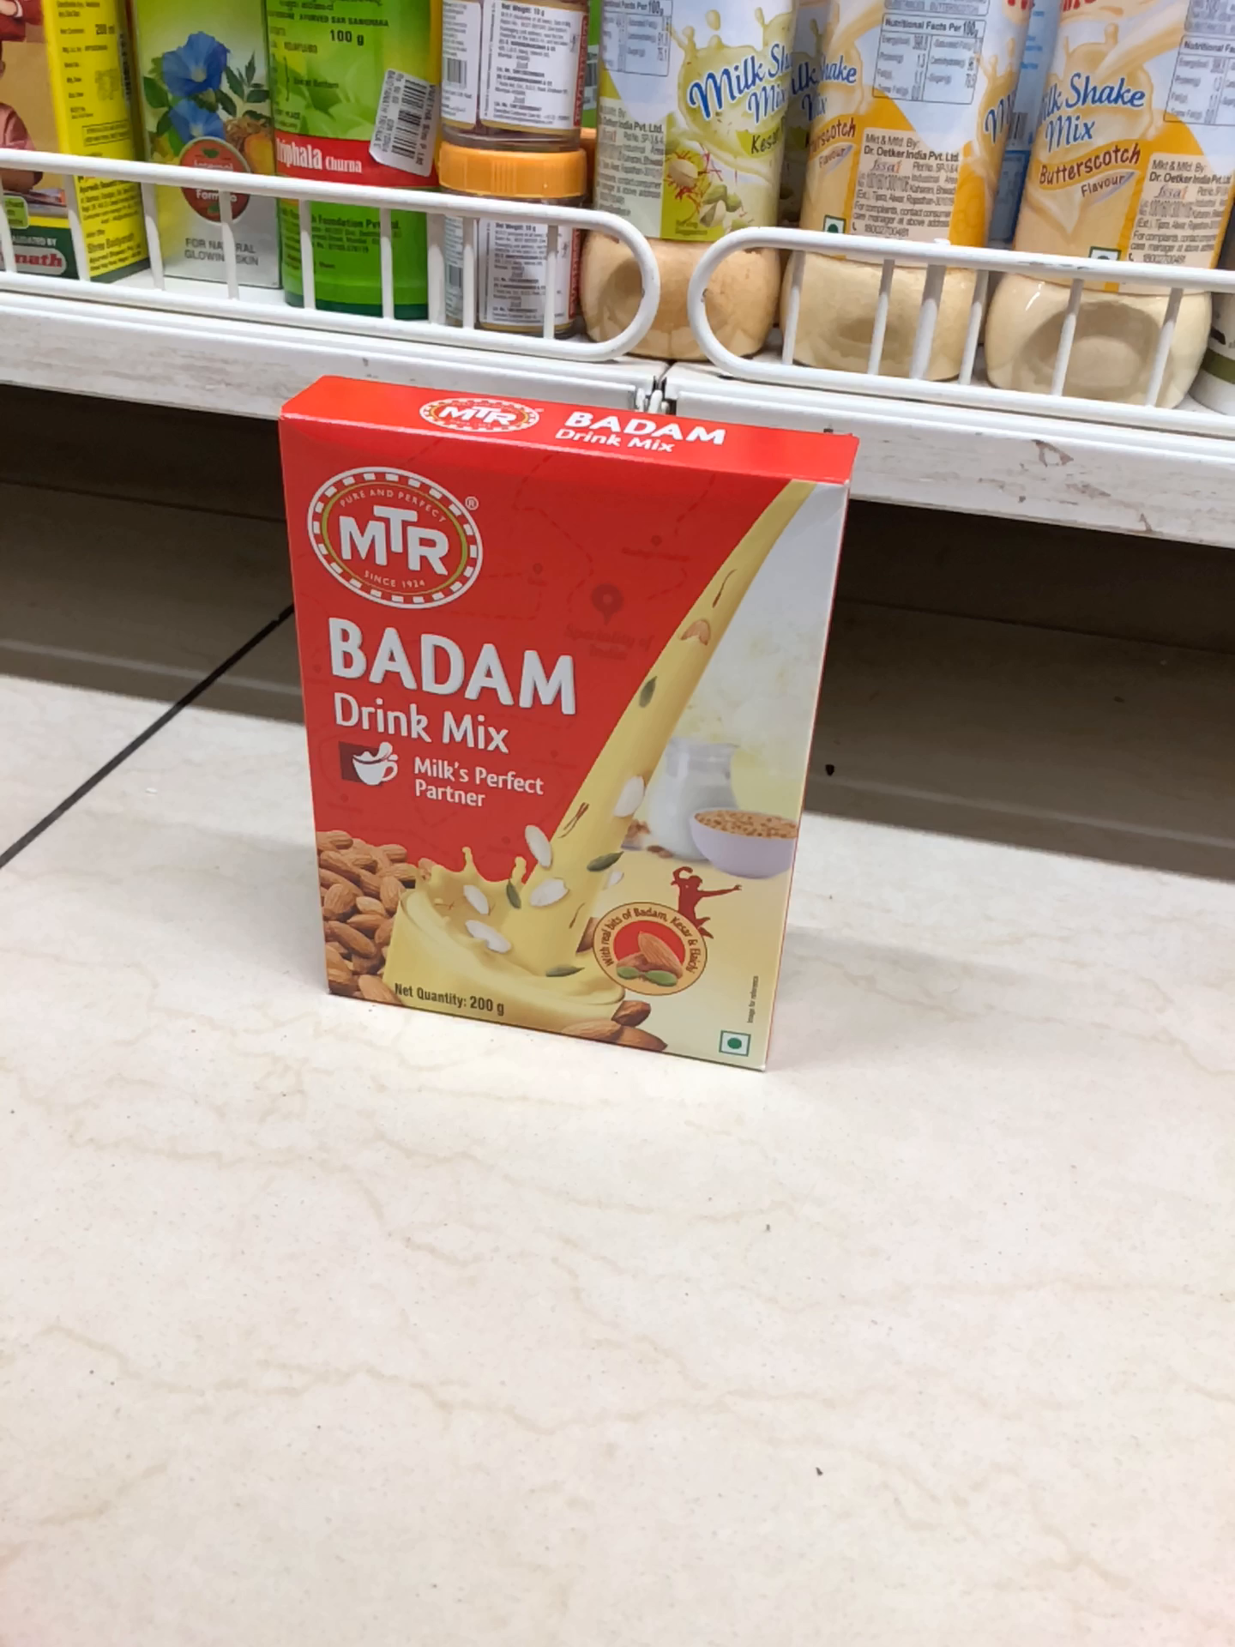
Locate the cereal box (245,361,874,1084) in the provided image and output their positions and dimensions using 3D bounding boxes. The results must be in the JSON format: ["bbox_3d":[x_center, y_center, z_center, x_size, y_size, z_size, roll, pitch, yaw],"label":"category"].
[{"bbox_3d":[-0.015,-0.021,0.337,0.130,0.159,0.040,9,32,8],"label":"cereal box"}]
